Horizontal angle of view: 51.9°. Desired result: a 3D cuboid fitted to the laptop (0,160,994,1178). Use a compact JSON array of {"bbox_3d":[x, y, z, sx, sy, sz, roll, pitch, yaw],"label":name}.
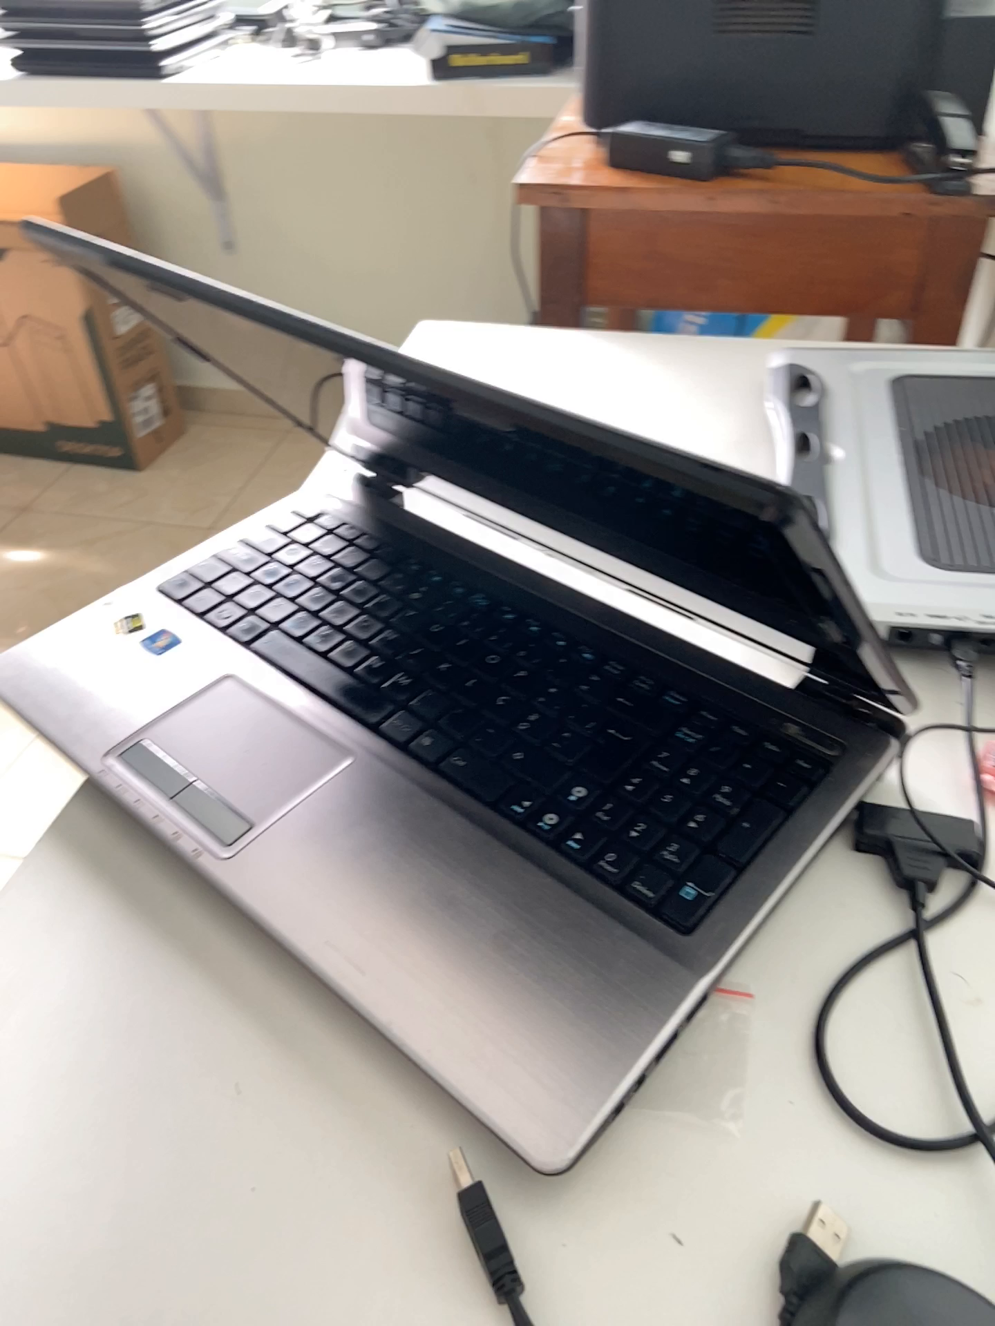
[{"bbox_3d":[-0.047,-0.053,0.423,0.377,0.182,0.247,28,50,33],"label":"laptop"}]
